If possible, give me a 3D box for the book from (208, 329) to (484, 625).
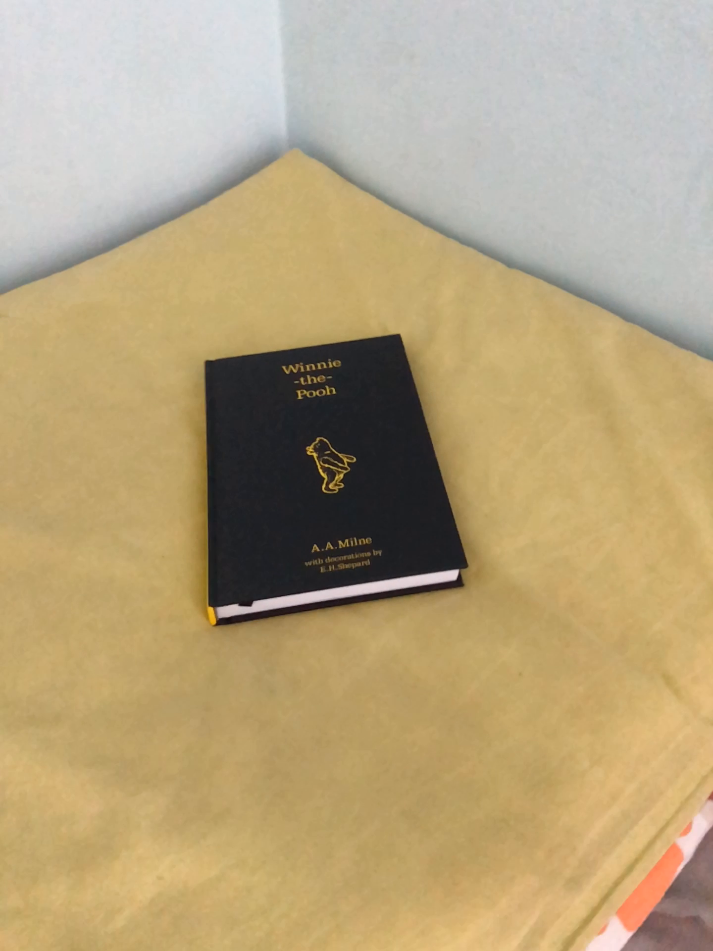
[{"bbox_3d":[-0.018,-0.013,0.519,0.150,0.020,0.221,-8,48,-4],"label":"book"}]
